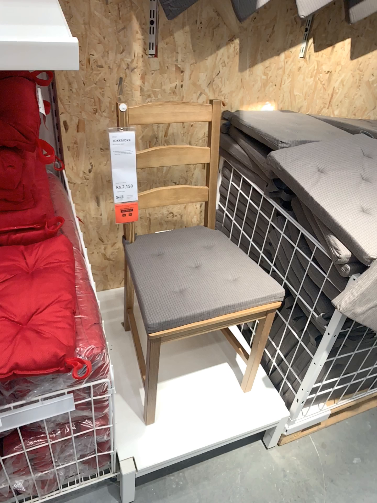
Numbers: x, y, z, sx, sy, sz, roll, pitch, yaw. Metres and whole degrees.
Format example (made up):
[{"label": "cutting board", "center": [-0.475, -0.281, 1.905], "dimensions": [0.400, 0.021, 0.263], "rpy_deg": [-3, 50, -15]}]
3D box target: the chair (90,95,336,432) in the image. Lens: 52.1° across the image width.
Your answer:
[{"label": "chair", "center": [-0.010, 0.037, 1.209], "dimensions": [0.440, 0.866, 0.502], "rpy_deg": [-10, 40, -21]}]
